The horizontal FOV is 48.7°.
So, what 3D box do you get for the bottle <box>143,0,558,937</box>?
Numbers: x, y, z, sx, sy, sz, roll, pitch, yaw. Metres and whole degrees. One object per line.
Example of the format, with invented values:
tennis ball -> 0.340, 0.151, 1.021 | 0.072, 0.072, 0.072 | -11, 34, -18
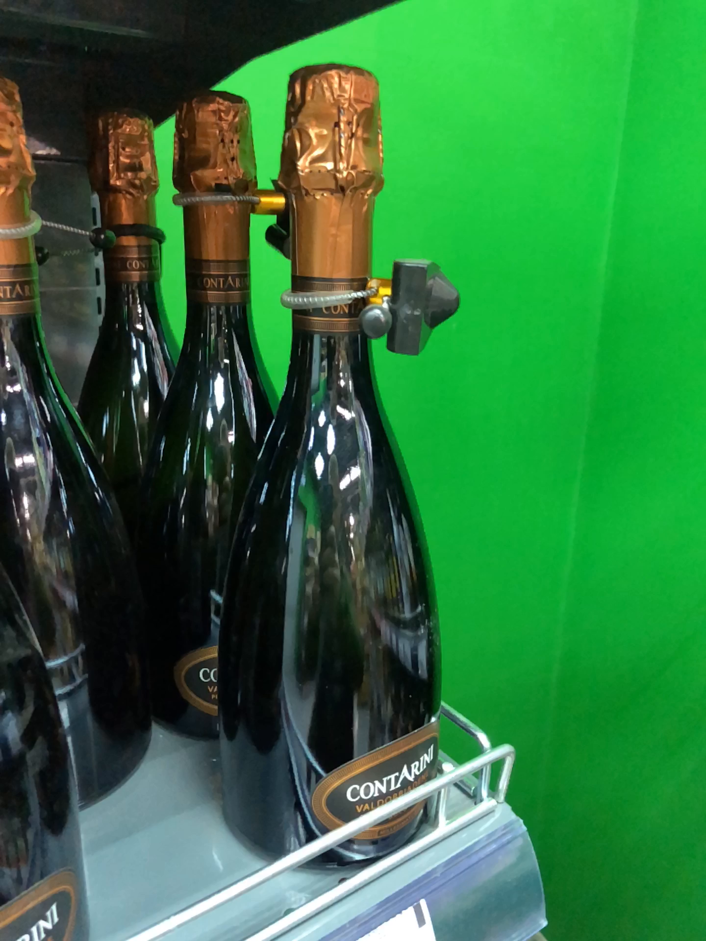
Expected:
bottle -> -0.007, 0.004, 0.306 | 0.100, 0.299, 0.100 | 1, 16, 0
